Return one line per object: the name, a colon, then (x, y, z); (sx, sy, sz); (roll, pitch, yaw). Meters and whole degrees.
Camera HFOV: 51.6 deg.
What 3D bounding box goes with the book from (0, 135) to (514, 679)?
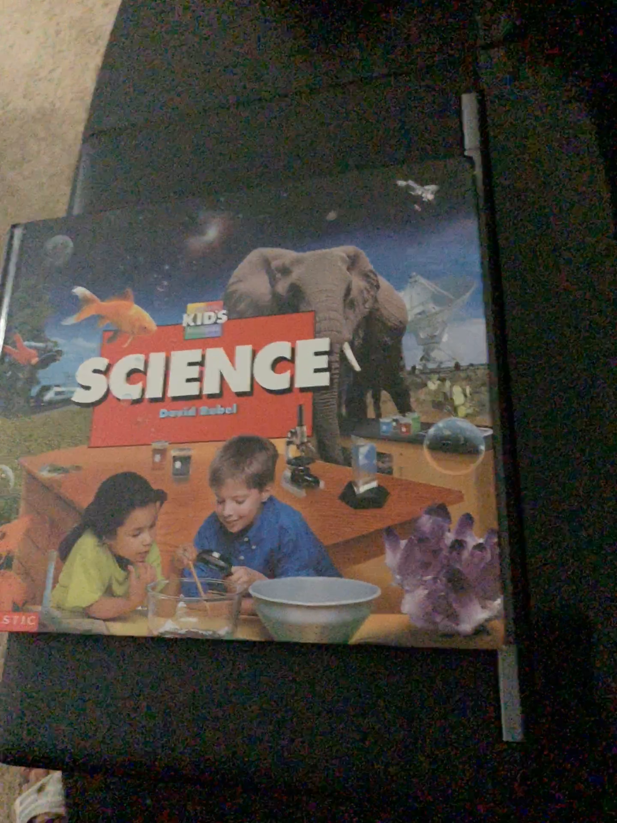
book: (-0.053, -0.005, 0.320); (0.280, 0.030, 0.240); (-3, 71, 16)
